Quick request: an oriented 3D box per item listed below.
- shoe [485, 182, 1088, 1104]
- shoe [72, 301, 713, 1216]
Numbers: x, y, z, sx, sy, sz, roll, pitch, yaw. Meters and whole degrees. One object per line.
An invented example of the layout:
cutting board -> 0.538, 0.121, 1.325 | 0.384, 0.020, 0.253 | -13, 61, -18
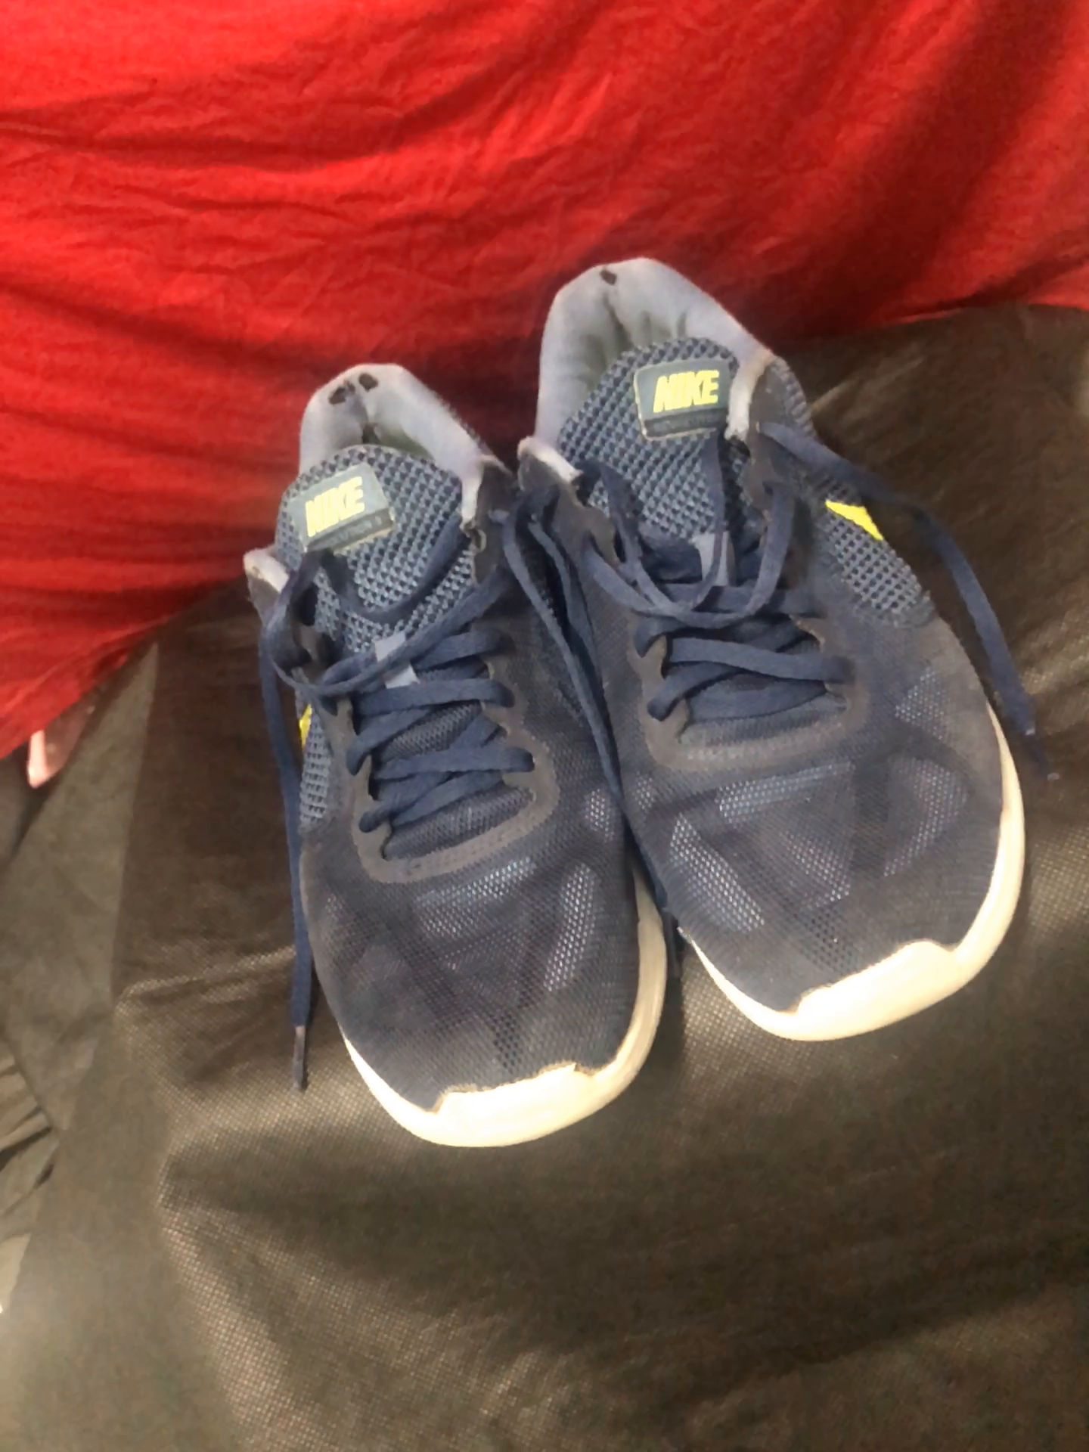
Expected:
shoe -> 0.062, -0.043, 0.354 | 0.110, 0.089, 0.262 | -19, 46, 9
shoe -> -0.041, -0.004, 0.348 | 0.110, 0.099, 0.232 | -19, 46, 9
